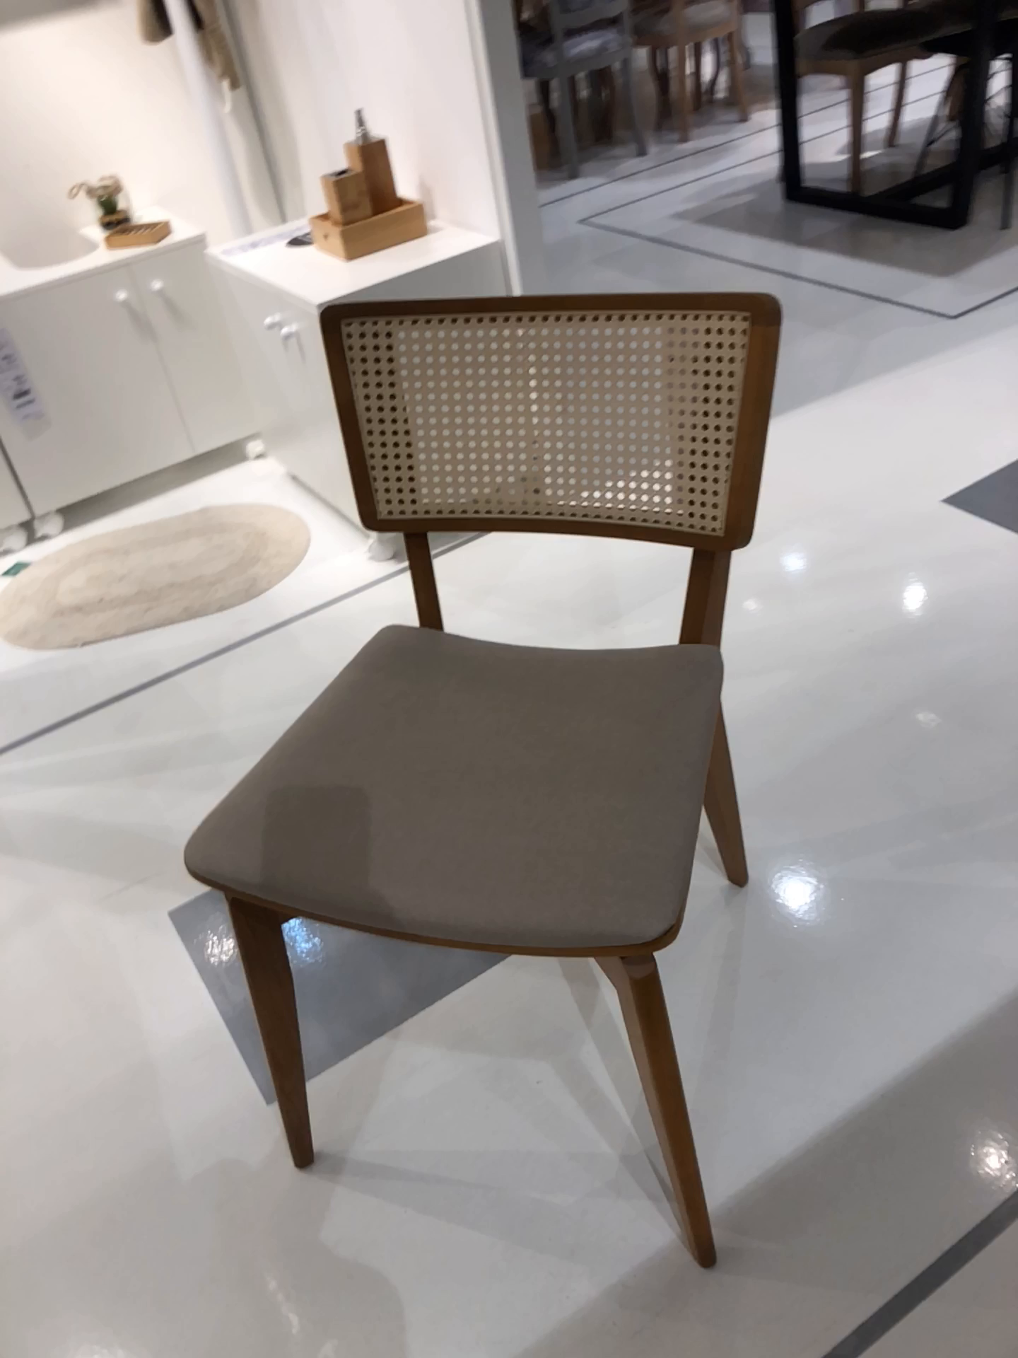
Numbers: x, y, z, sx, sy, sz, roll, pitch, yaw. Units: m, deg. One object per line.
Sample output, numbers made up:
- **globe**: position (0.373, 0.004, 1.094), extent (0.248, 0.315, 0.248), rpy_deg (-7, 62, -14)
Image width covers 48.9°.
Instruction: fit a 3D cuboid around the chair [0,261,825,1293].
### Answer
- **chair**: position (0.014, 0.079, 1.172), extent (0.540, 0.794, 0.604), rpy_deg (5, 39, 20)
